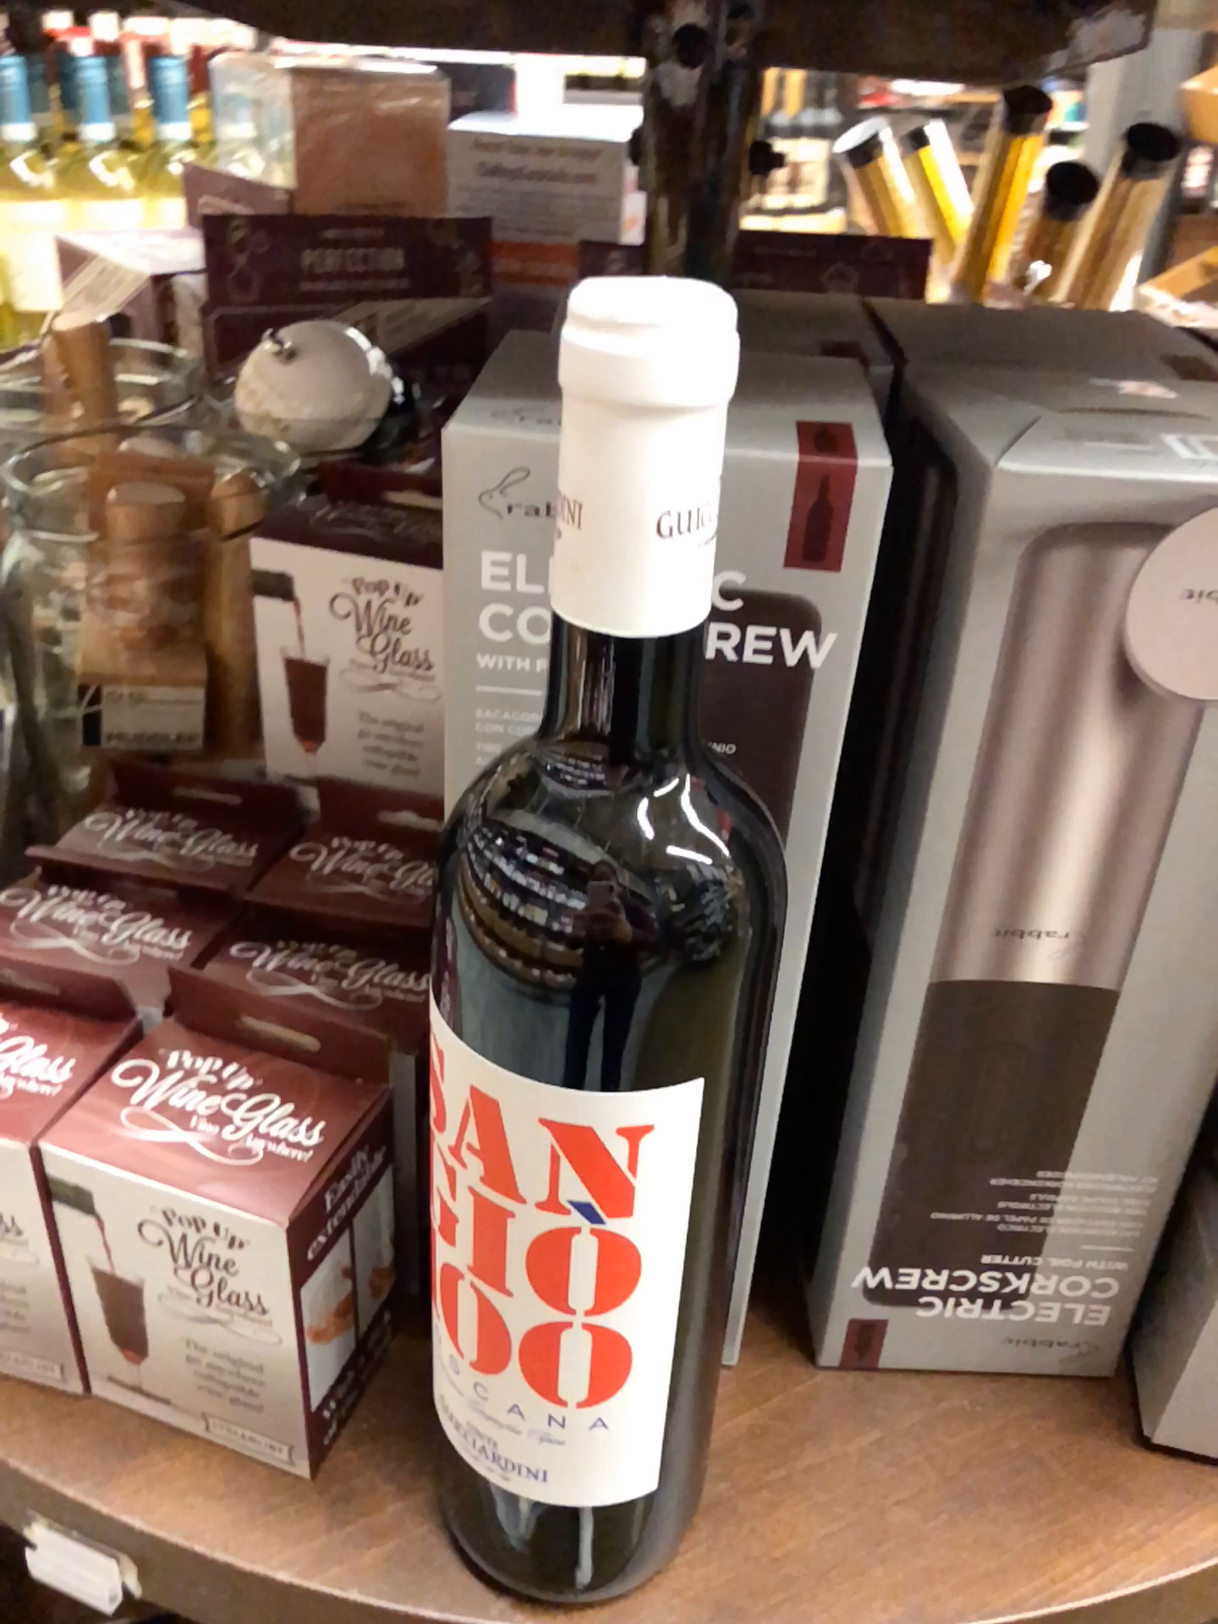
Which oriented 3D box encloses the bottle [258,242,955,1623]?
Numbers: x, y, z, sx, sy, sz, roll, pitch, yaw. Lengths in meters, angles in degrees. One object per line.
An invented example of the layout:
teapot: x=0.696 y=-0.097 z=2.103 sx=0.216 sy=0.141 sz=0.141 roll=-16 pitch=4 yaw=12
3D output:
bottle: x=-0.001 y=0.052 z=0.291 sx=0.083 sy=0.309 sz=0.080 roll=2 pitch=30 yaw=-1
